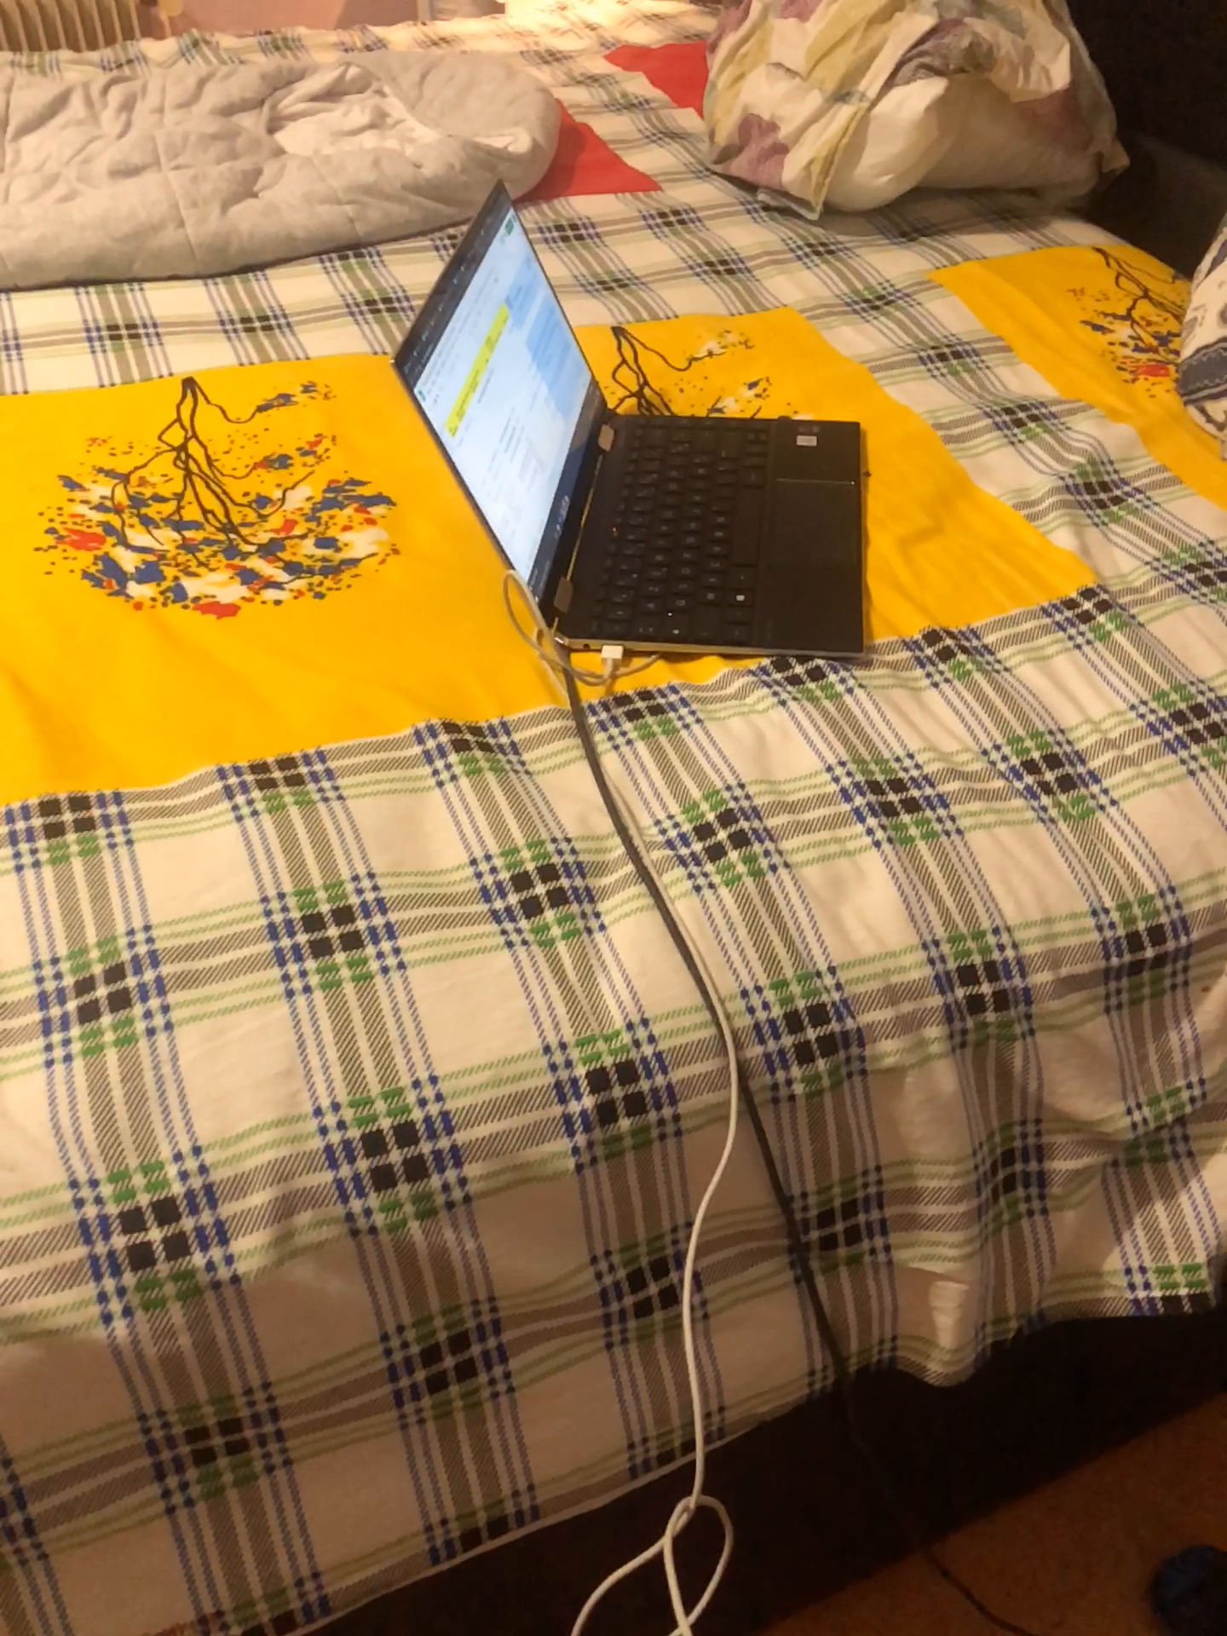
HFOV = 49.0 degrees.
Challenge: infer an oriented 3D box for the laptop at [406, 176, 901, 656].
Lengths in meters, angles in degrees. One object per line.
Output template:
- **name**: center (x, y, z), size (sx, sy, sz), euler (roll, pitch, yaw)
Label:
- **laptop**: center (0.035, -0.259, 0.833), size (0.253, 0.158, 0.276), euler (5, 45, 6)
